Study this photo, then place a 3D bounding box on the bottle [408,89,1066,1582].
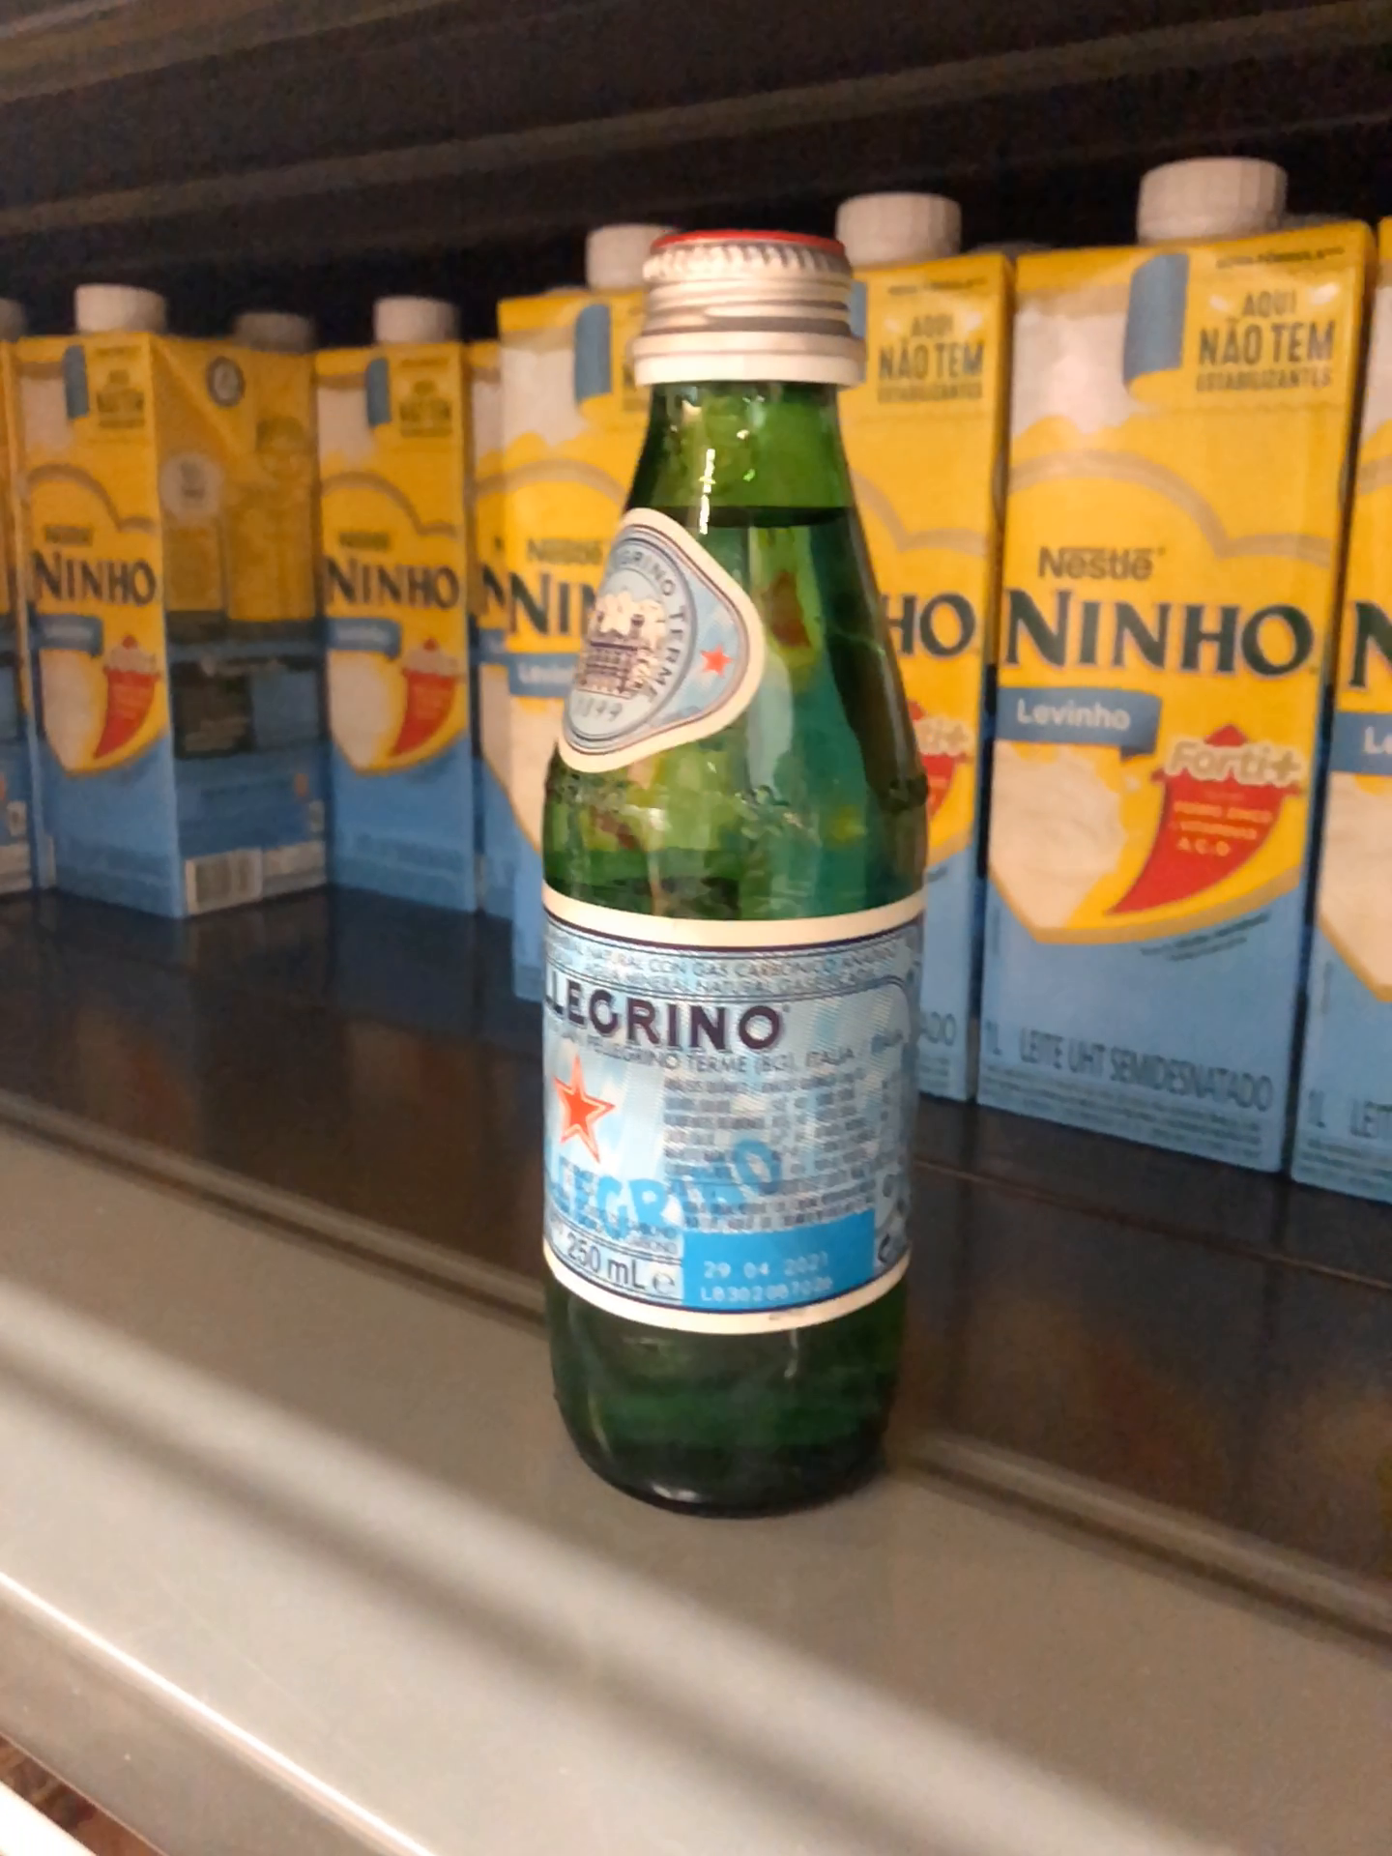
[{"bbox_3d":[0.006,-0.012,0.224,0.060,0.179,0.060,-1,15,0],"label":"bottle"}]
